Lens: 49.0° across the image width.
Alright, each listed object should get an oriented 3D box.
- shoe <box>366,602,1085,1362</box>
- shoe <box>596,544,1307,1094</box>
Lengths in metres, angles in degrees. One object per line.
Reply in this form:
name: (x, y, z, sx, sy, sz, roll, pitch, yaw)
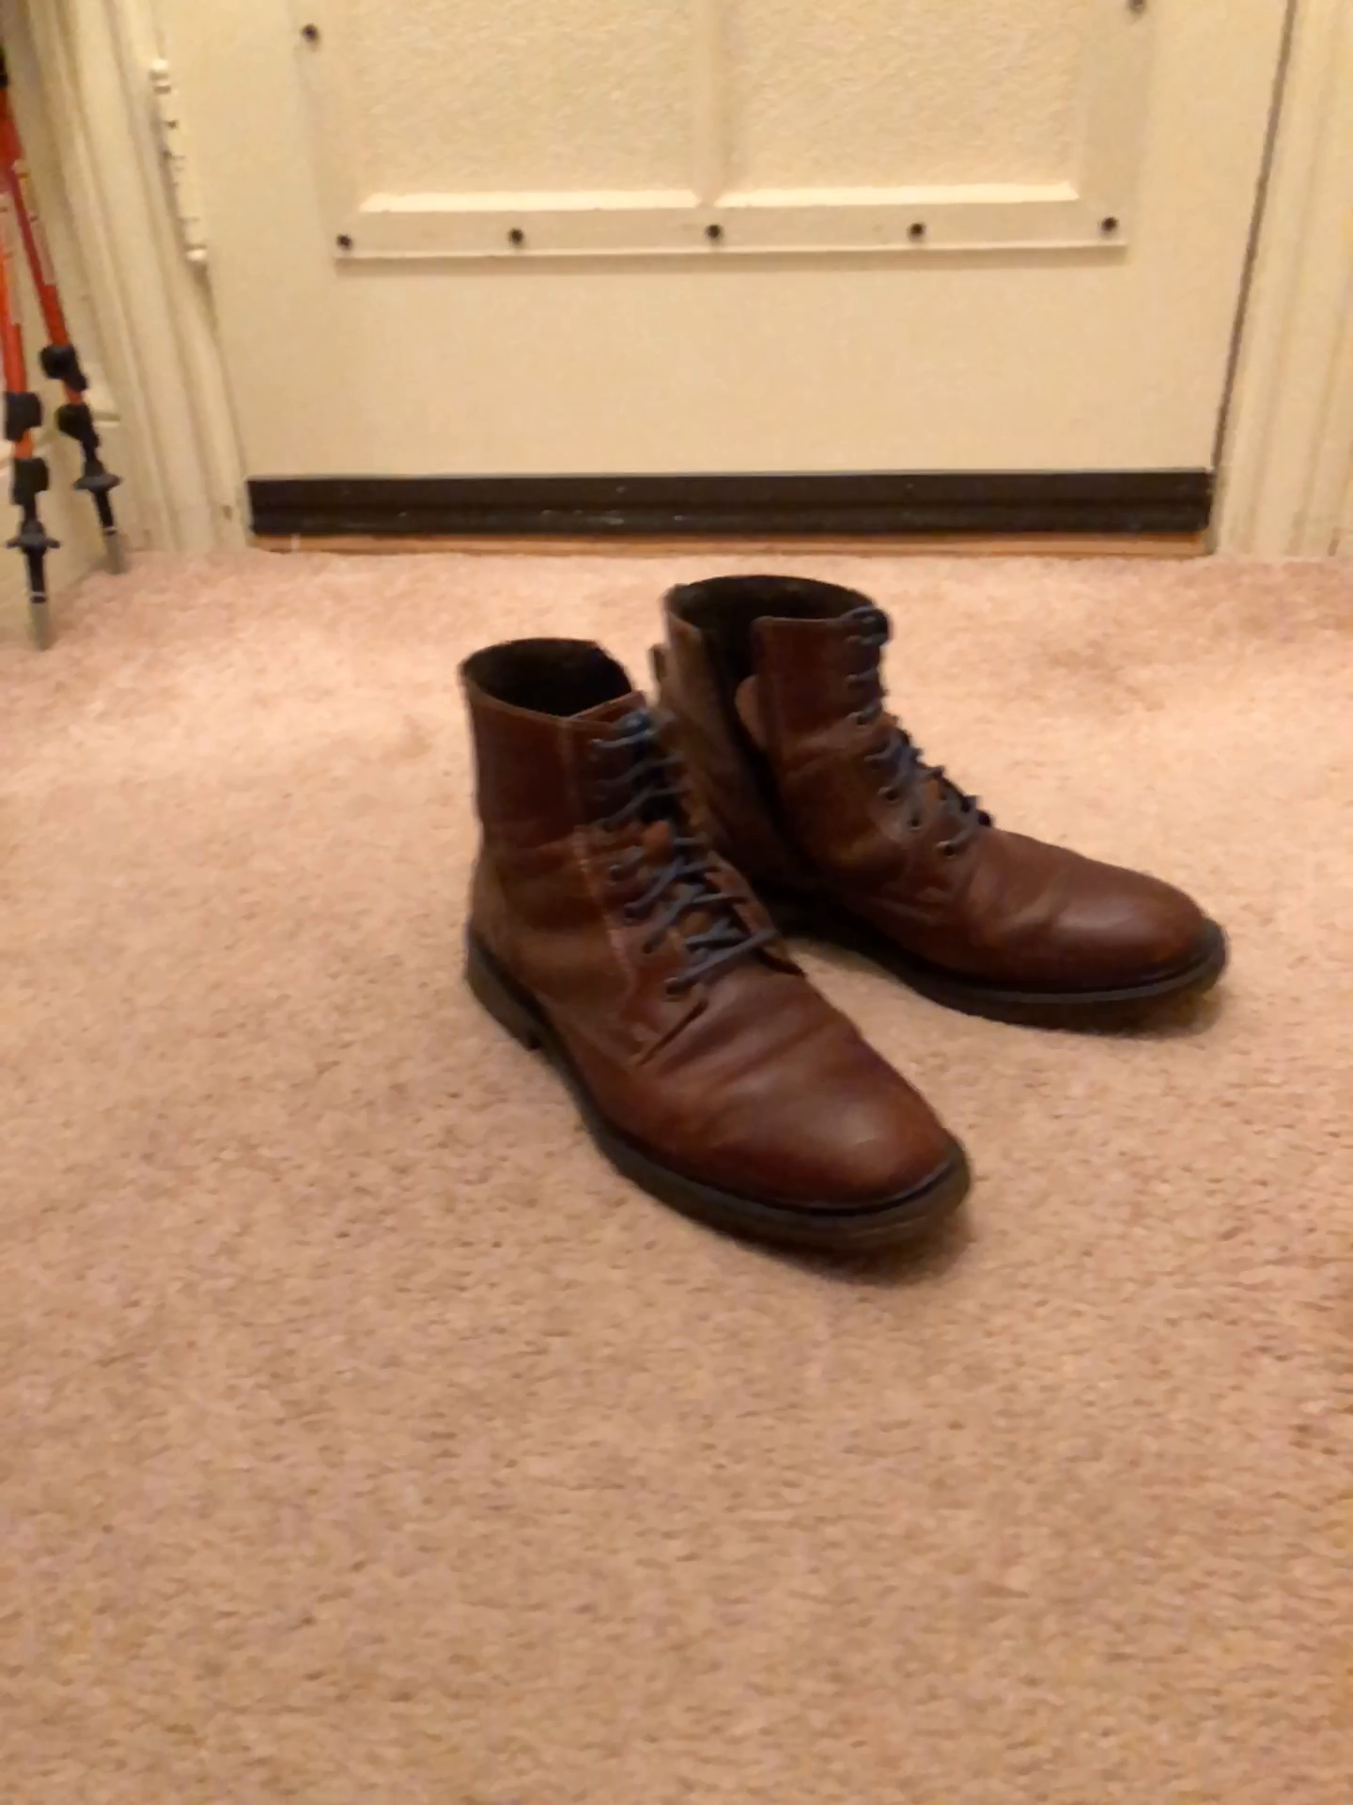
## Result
shoe: (0.003, 0.011, 0.636, 0.113, 0.172, 0.316, -24, 38, -30)
shoe: (0.122, -0.052, 0.724, 0.301, 0.172, 0.111, 16, 37, 27)
